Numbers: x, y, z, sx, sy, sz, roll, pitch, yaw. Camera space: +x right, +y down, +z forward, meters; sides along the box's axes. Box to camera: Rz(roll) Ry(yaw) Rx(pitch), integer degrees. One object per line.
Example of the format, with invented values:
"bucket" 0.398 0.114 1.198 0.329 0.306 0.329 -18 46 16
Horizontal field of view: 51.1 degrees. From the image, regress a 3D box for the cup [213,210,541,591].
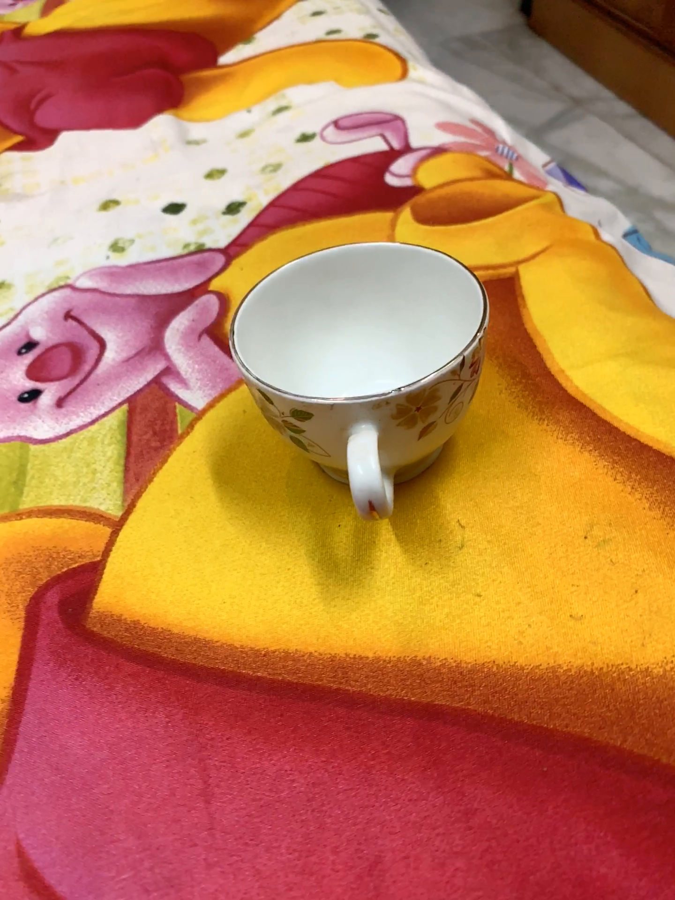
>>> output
"cup" 0.011 -0.018 0.227 0.080 0.060 0.101 -7 48 5
